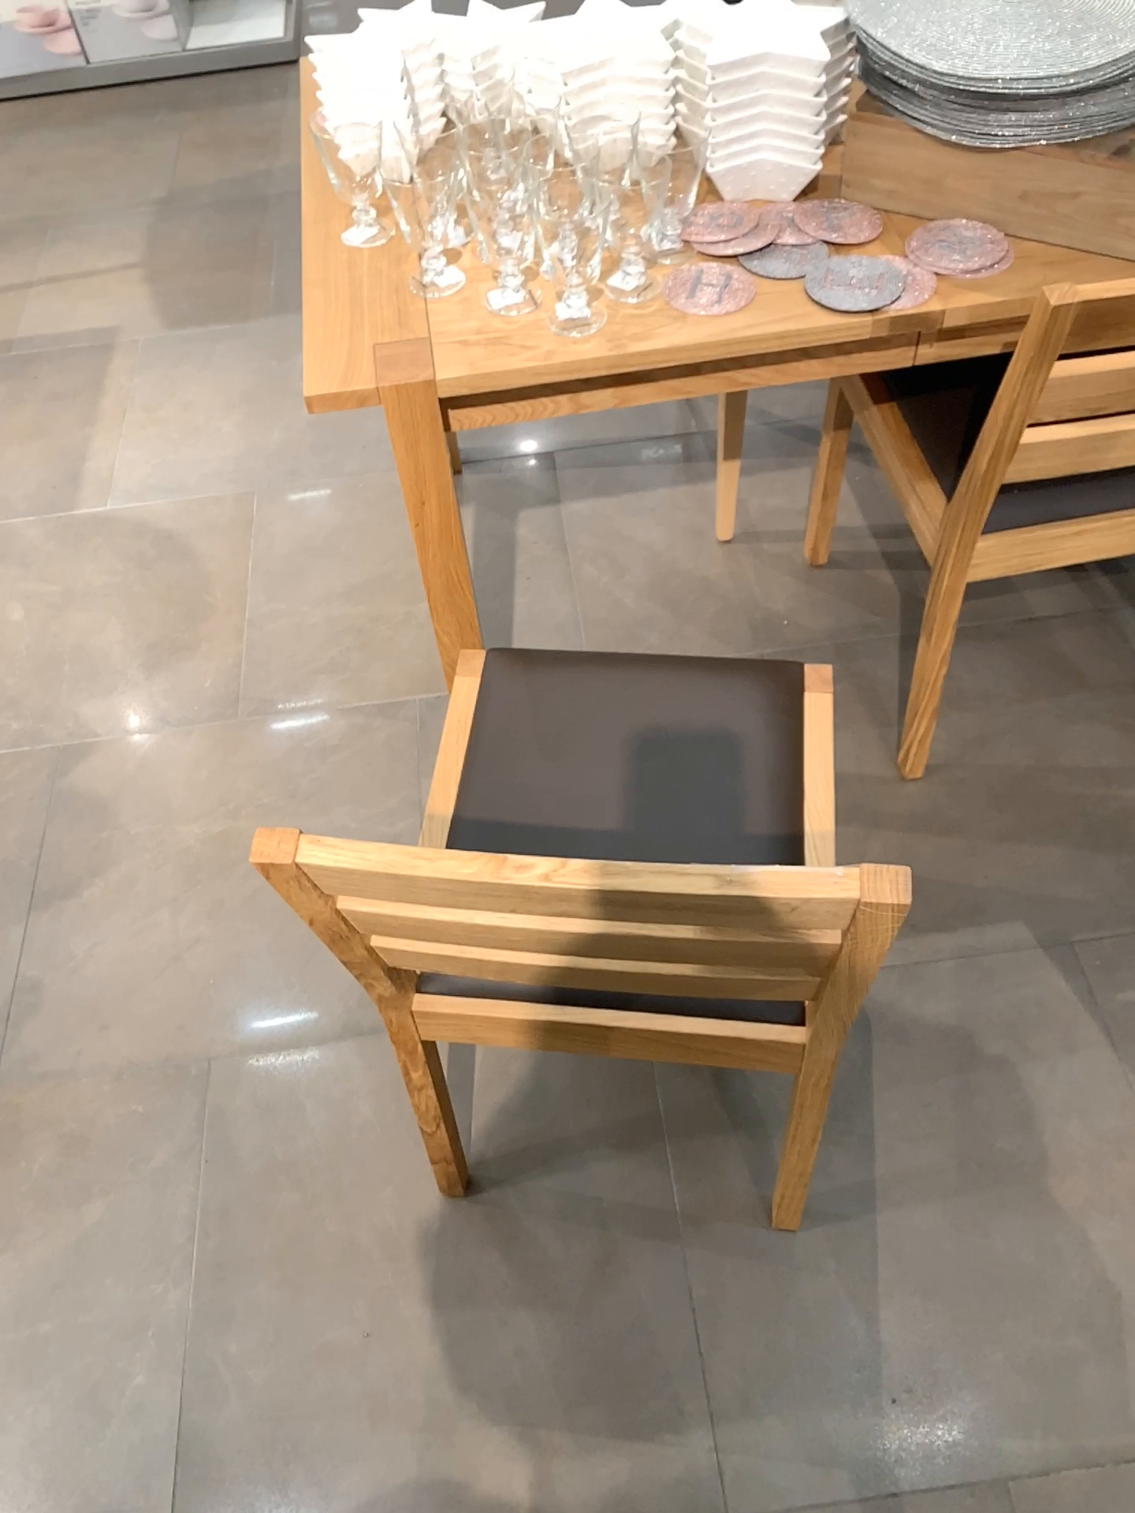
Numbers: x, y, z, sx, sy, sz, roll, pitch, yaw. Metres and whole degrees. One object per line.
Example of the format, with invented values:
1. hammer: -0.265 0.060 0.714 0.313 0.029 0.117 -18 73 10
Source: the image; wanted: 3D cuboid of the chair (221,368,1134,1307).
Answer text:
1. chair: 0.125 0.129 1.185 0.562 0.817 0.567 3 53 8
